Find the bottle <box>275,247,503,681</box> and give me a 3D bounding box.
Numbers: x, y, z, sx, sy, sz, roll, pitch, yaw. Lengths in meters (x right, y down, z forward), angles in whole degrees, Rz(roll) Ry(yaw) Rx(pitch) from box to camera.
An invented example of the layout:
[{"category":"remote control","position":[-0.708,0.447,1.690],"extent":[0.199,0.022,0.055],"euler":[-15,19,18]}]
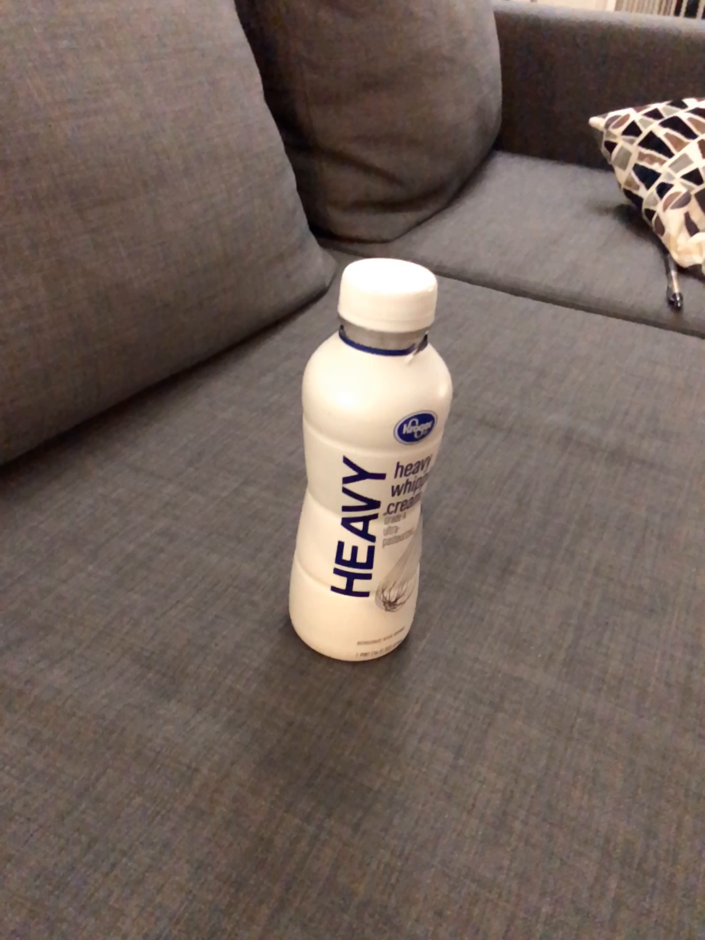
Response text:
[{"category":"bottle","position":[0.008,0.001,0.371],"extent":[0.070,0.189,0.070],"euler":[3,34,-2]}]
